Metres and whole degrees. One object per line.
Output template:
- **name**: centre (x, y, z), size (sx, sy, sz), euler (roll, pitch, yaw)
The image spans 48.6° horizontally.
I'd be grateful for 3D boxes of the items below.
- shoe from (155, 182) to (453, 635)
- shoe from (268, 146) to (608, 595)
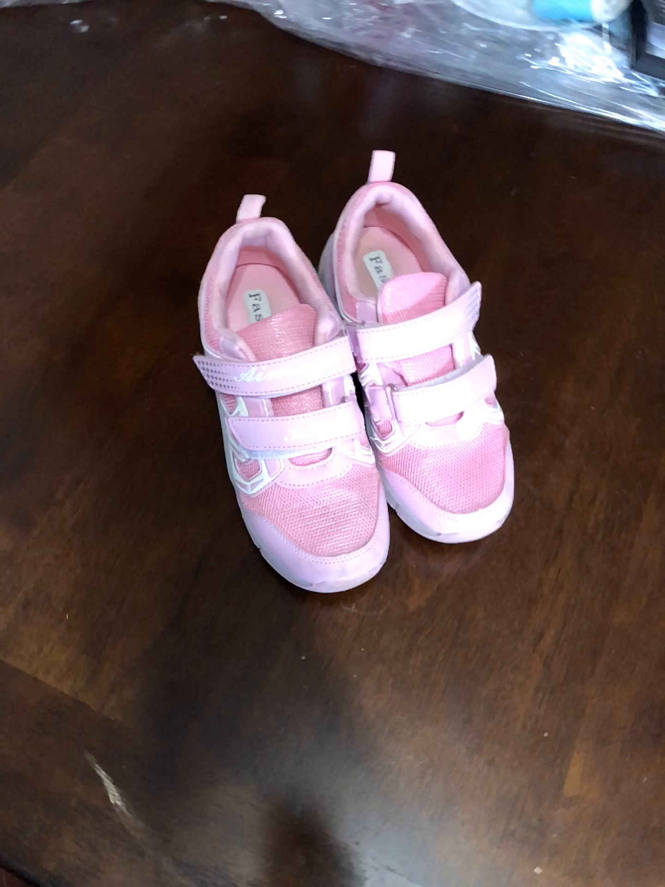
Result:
- **shoe**: centre (-0.026, -0.026, 0.470), size (0.100, 0.110, 0.250), euler (-16, 65, -9)
- **shoe**: centre (0.052, -0.053, 0.490), size (0.110, 0.110, 0.260), euler (-17, 65, -9)
